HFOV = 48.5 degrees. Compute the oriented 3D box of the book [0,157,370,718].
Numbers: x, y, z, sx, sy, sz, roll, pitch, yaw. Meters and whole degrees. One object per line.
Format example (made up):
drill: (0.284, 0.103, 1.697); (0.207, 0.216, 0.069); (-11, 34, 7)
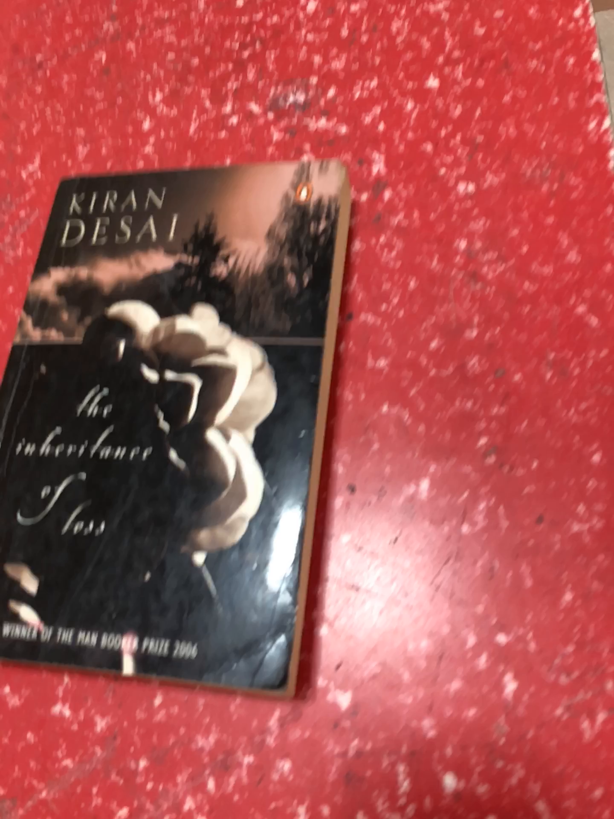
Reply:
book: (-0.051, 0.005, 0.261); (0.130, 0.060, 0.190); (1, 69, 13)
